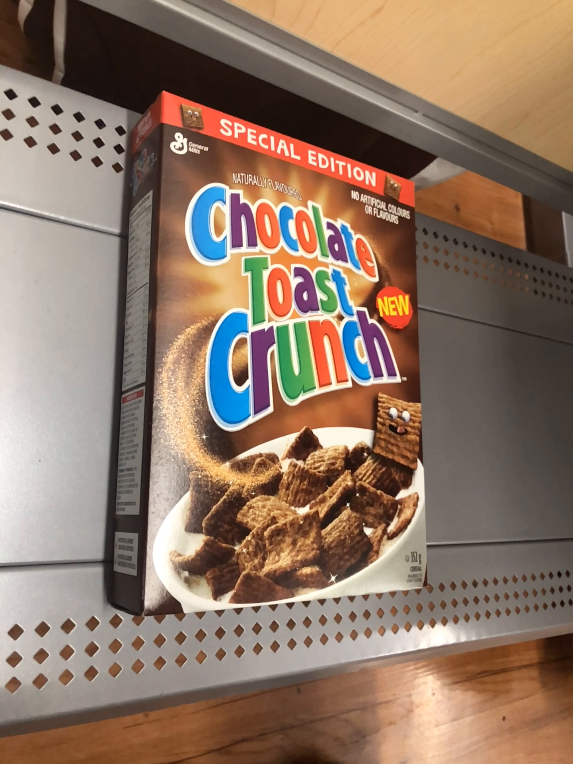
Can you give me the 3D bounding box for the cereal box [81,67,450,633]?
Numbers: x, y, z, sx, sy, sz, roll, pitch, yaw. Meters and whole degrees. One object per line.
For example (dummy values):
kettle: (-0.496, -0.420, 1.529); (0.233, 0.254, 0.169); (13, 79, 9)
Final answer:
cereal box: (-0.008, -0.011, 0.404); (0.201, 0.090, 0.290); (8, 75, -33)
